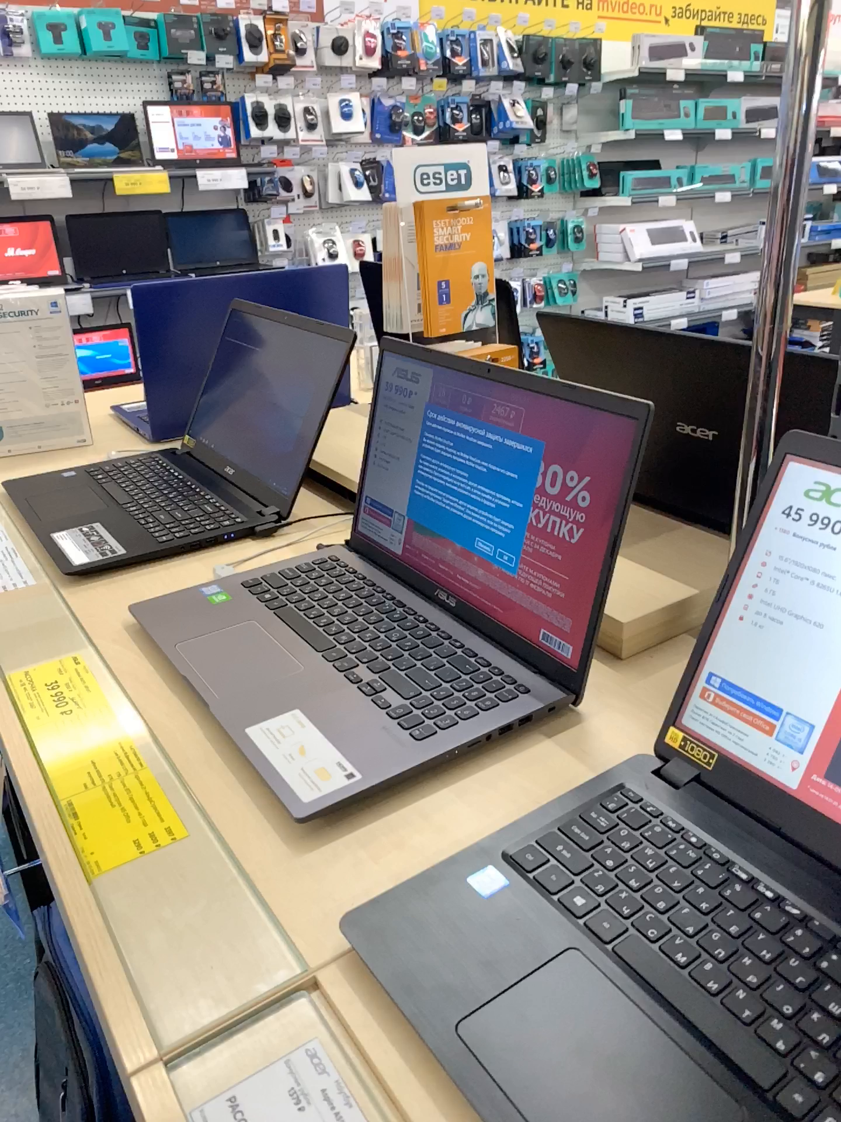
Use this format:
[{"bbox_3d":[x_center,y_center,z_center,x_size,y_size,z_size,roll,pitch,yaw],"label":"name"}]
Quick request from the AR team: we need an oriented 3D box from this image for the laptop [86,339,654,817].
[{"bbox_3d":[-0.059,-0.034,0.714,0.297,0.217,0.367,-17,27,-30],"label":"laptop"}]

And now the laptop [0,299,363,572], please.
[{"bbox_3d":[-0.327,-0.187,1.092,0.361,0.214,0.351,-16,28,-30],"label":"laptop"}]
